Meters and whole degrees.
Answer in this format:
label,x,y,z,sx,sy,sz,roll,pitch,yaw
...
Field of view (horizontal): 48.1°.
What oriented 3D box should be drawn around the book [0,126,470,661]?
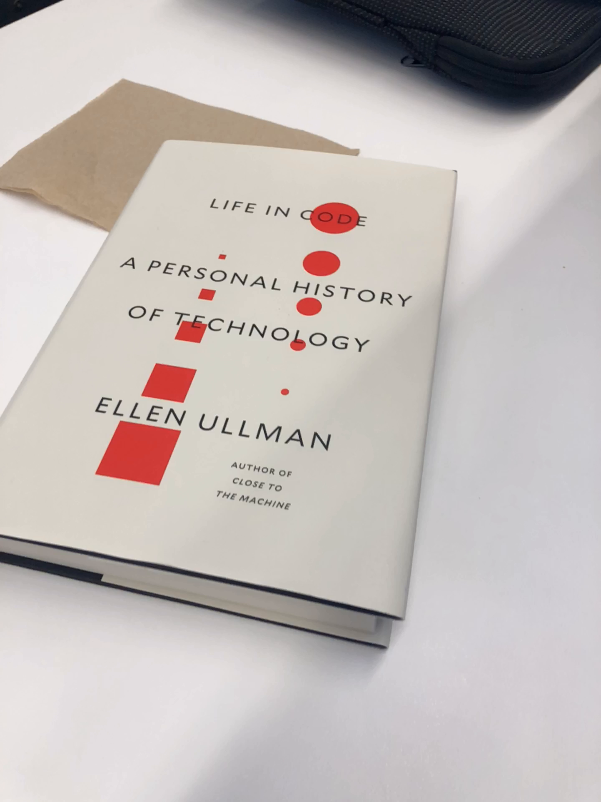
label,x,y,z,sx,sy,sz,roll,pitch,yaw
book,-0.024,-0.030,0.268,0.160,0.030,0.221,10,52,9
